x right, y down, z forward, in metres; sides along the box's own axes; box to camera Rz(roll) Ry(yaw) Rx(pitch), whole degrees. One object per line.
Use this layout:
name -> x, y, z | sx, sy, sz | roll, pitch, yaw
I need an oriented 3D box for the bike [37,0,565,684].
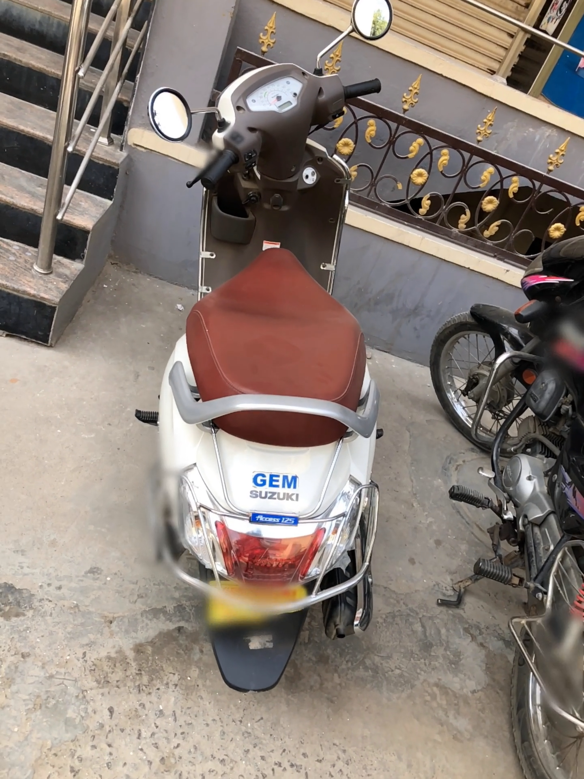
bike -> -0.143, -0.296, 1.746 | 0.597, 1.194, 1.493 | 13, 36, -17
